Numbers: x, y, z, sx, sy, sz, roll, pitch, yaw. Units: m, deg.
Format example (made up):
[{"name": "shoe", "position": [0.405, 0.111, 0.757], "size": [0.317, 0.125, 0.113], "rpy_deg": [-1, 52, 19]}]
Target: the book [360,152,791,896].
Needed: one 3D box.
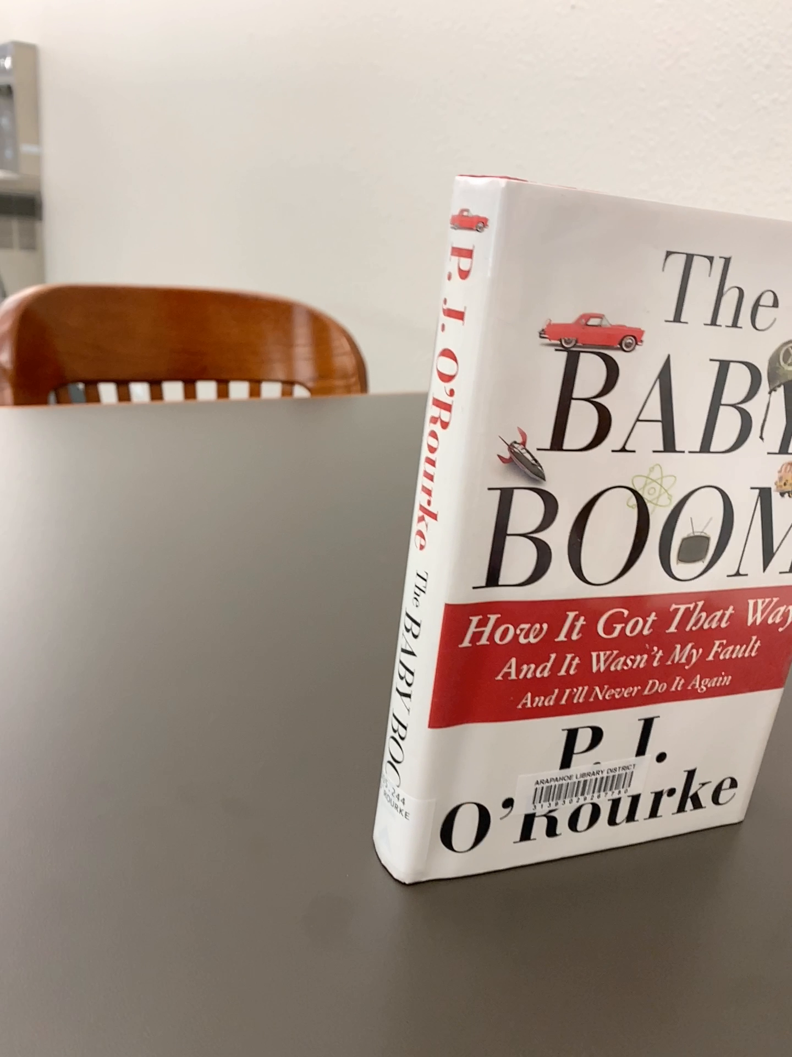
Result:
[{"name": "book", "position": [0.078, 0.008, 0.283], "size": [0.160, 0.231, 0.030], "rpy_deg": [-2, 20, -22]}]
